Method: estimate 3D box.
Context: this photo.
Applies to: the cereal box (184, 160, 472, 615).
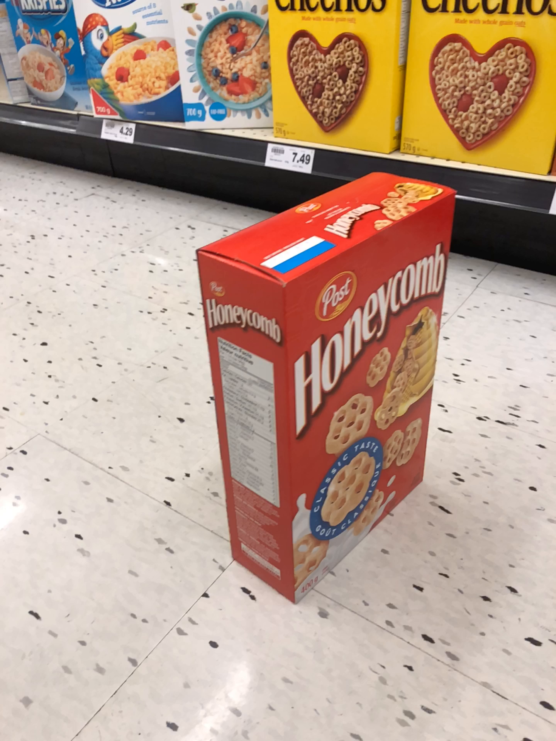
[{"bbox_3d":[0.047,0.014,0.487,0.080,0.298,0.201,27,44,35],"label":"cereal box"}]
